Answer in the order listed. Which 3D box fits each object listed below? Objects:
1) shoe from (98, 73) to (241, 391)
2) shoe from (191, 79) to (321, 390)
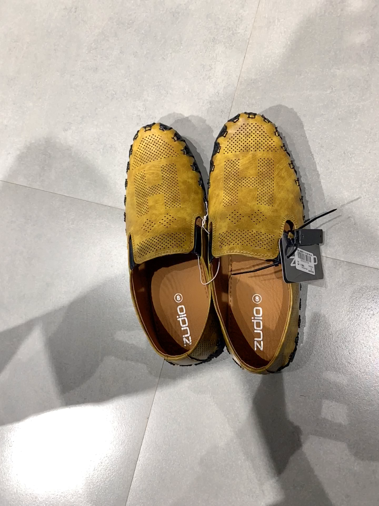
[{"bbox_3d":[-0.020,-0.019,0.459,0.100,0.120,0.320,-9,82,16],"label":"shoe"},{"bbox_3d":[0.070,-0.016,0.412,0.110,0.080,0.290,-4,83,16],"label":"shoe"}]
